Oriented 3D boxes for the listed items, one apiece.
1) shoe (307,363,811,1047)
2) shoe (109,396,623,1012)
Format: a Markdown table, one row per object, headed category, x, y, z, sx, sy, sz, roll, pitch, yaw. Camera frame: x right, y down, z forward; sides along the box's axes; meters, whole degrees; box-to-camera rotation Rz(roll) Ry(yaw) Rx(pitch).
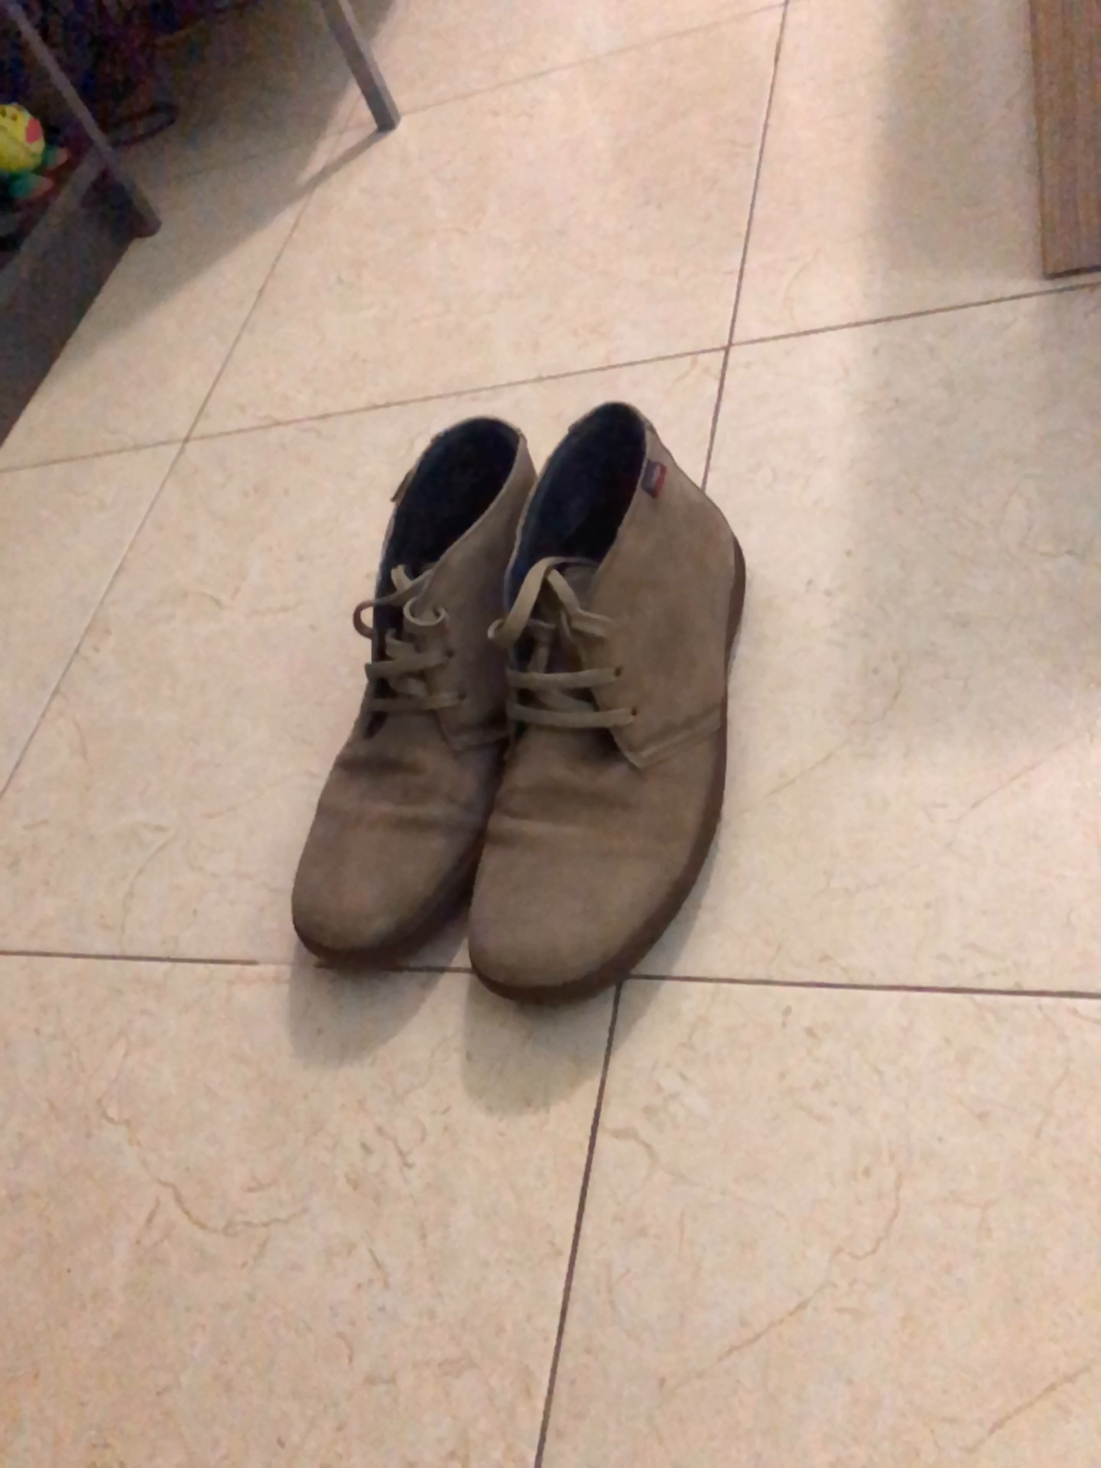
| category | x | y | z | sx | sy | sz | roll | pitch | yaw |
| --- | --- | --- | --- | --- | --- | --- | --- | --- | --- |
| shoe | 0.022 | -0.023 | 0.554 | 0.120 | 0.120 | 0.280 | 3 | 56 | 27 |
| shoe | -0.075 | -0.025 | 0.610 | 0.110 | 0.120 | 0.280 | 5 | 57 | 28 |
